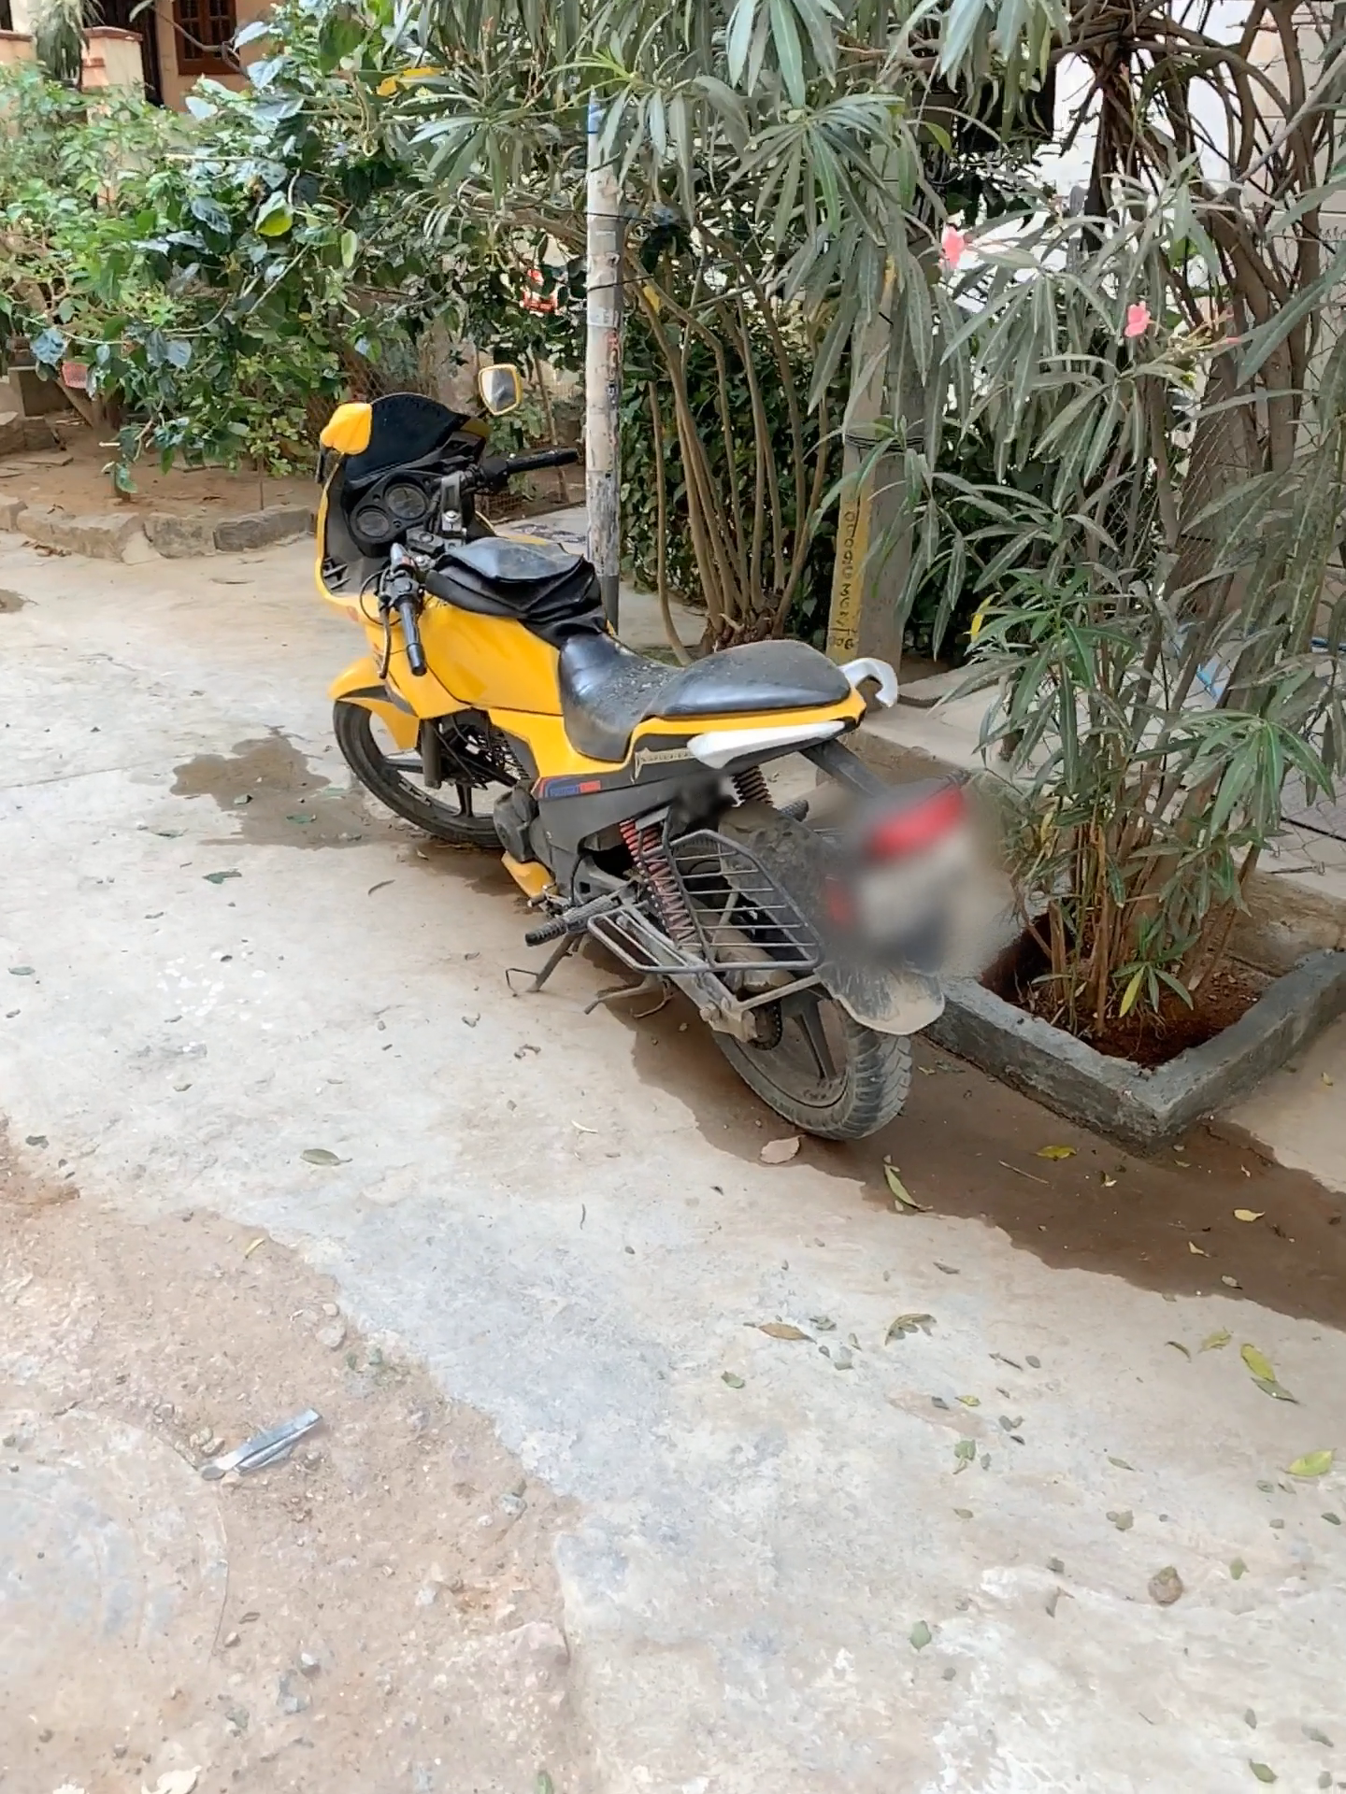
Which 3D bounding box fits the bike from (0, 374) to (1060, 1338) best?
[{"bbox_3d":[-0.402,-0.270,2.488,0.854,0.954,1.751,-19,37,-37],"label":"bike"}]
